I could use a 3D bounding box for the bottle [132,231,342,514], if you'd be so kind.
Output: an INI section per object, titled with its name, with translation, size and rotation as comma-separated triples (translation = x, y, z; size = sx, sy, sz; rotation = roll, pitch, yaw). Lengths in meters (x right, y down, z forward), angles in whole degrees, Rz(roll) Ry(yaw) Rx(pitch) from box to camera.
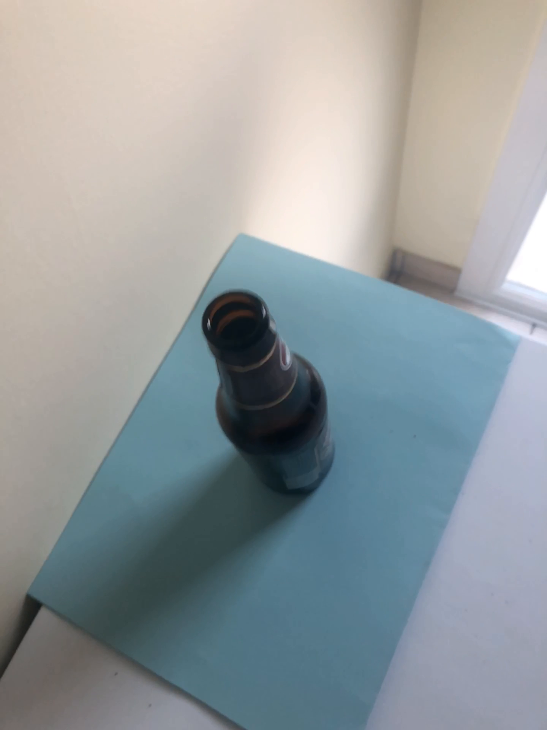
[bottle]
translation = -0.005, 0.026, 0.339
size = 0.070, 0.229, 0.070
rotation = -2, 69, 6
